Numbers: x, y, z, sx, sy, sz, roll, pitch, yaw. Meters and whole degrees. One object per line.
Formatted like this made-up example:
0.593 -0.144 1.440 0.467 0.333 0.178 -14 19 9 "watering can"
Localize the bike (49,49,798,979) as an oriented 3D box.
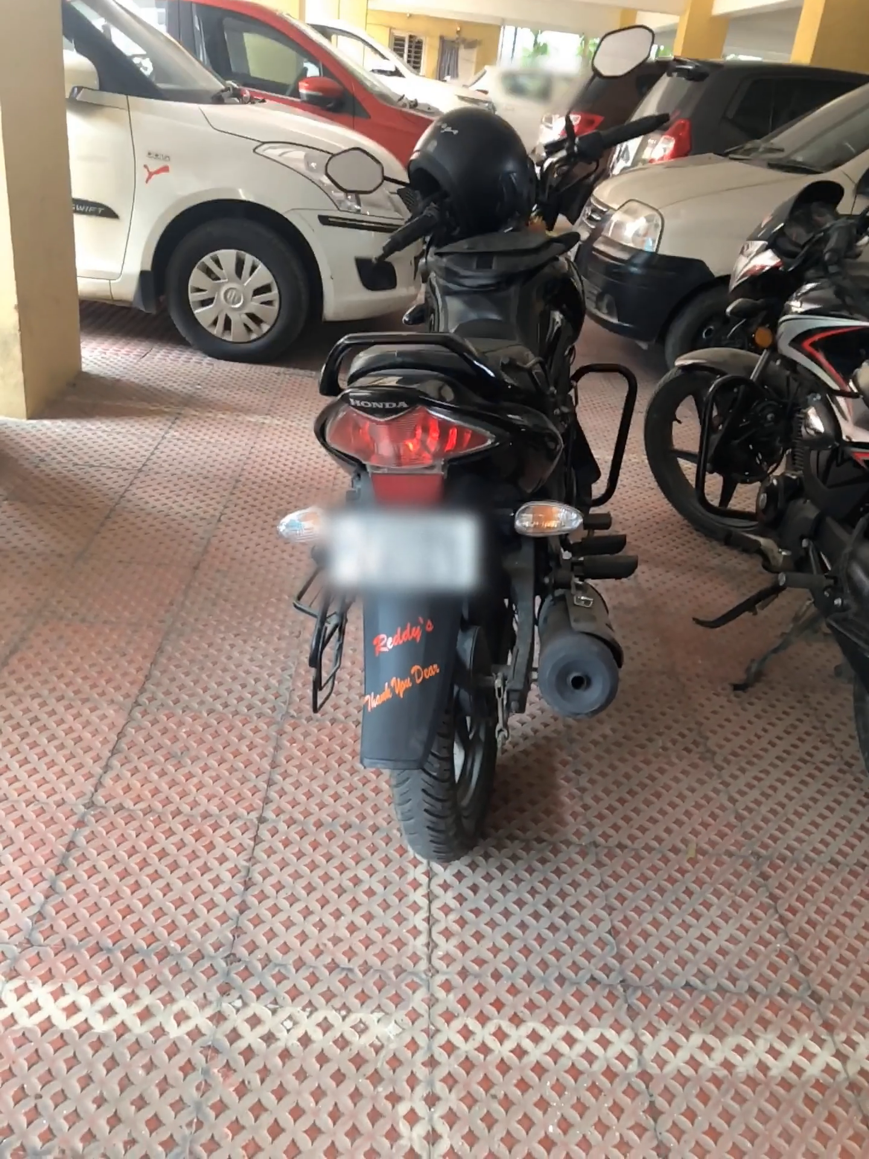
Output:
-0.040 -0.387 2.007 0.804 1.200 1.692 8 29 1 "bike"
